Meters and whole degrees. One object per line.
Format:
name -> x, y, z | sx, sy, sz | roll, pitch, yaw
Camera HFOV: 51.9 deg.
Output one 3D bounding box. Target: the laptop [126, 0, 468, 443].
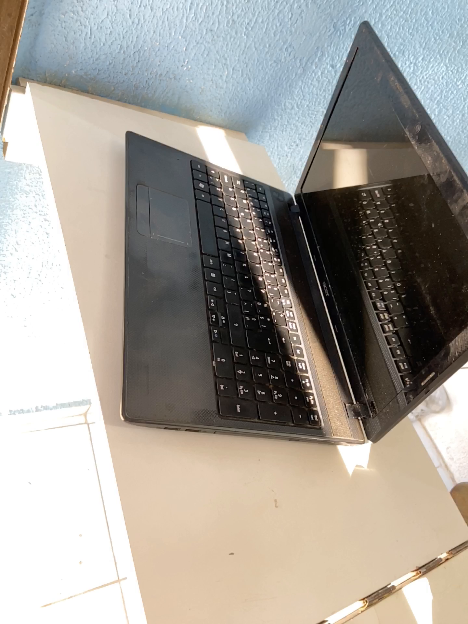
laptop -> 0.059, -0.107, 0.471 | 0.254, 0.234, 0.375 | 13, 48, -28
